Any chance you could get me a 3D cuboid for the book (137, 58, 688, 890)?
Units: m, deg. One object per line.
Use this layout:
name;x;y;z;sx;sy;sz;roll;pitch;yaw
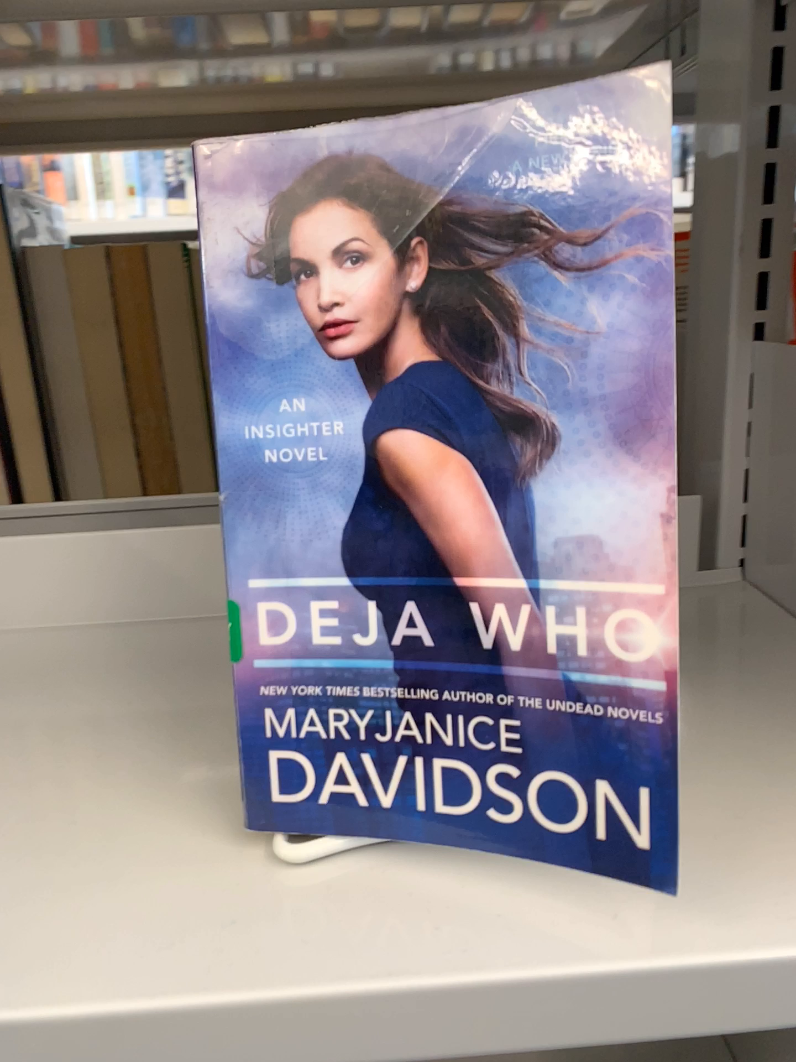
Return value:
book;0.005;-0.012;0.227;0.136;0.190;0.047;0;4;13
